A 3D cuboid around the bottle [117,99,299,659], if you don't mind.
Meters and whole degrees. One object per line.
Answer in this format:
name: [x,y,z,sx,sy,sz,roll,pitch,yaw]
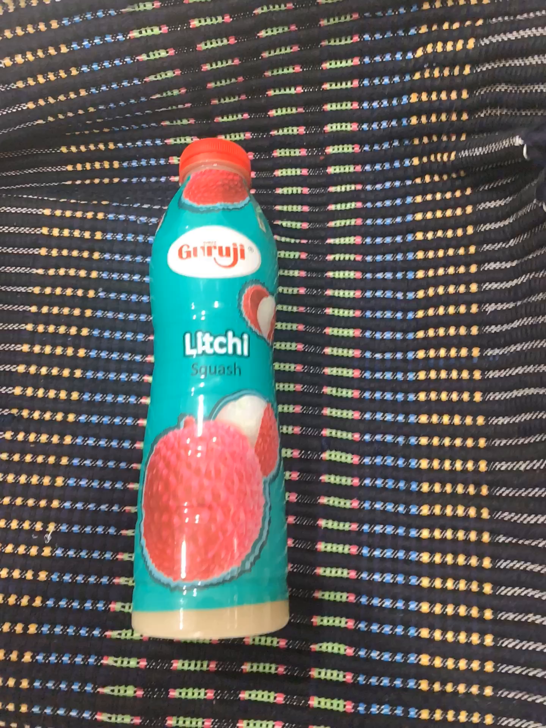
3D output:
bottle: [-0.034,-0.004,0.307,0.070,0.080,0.280,0,69,-5]
